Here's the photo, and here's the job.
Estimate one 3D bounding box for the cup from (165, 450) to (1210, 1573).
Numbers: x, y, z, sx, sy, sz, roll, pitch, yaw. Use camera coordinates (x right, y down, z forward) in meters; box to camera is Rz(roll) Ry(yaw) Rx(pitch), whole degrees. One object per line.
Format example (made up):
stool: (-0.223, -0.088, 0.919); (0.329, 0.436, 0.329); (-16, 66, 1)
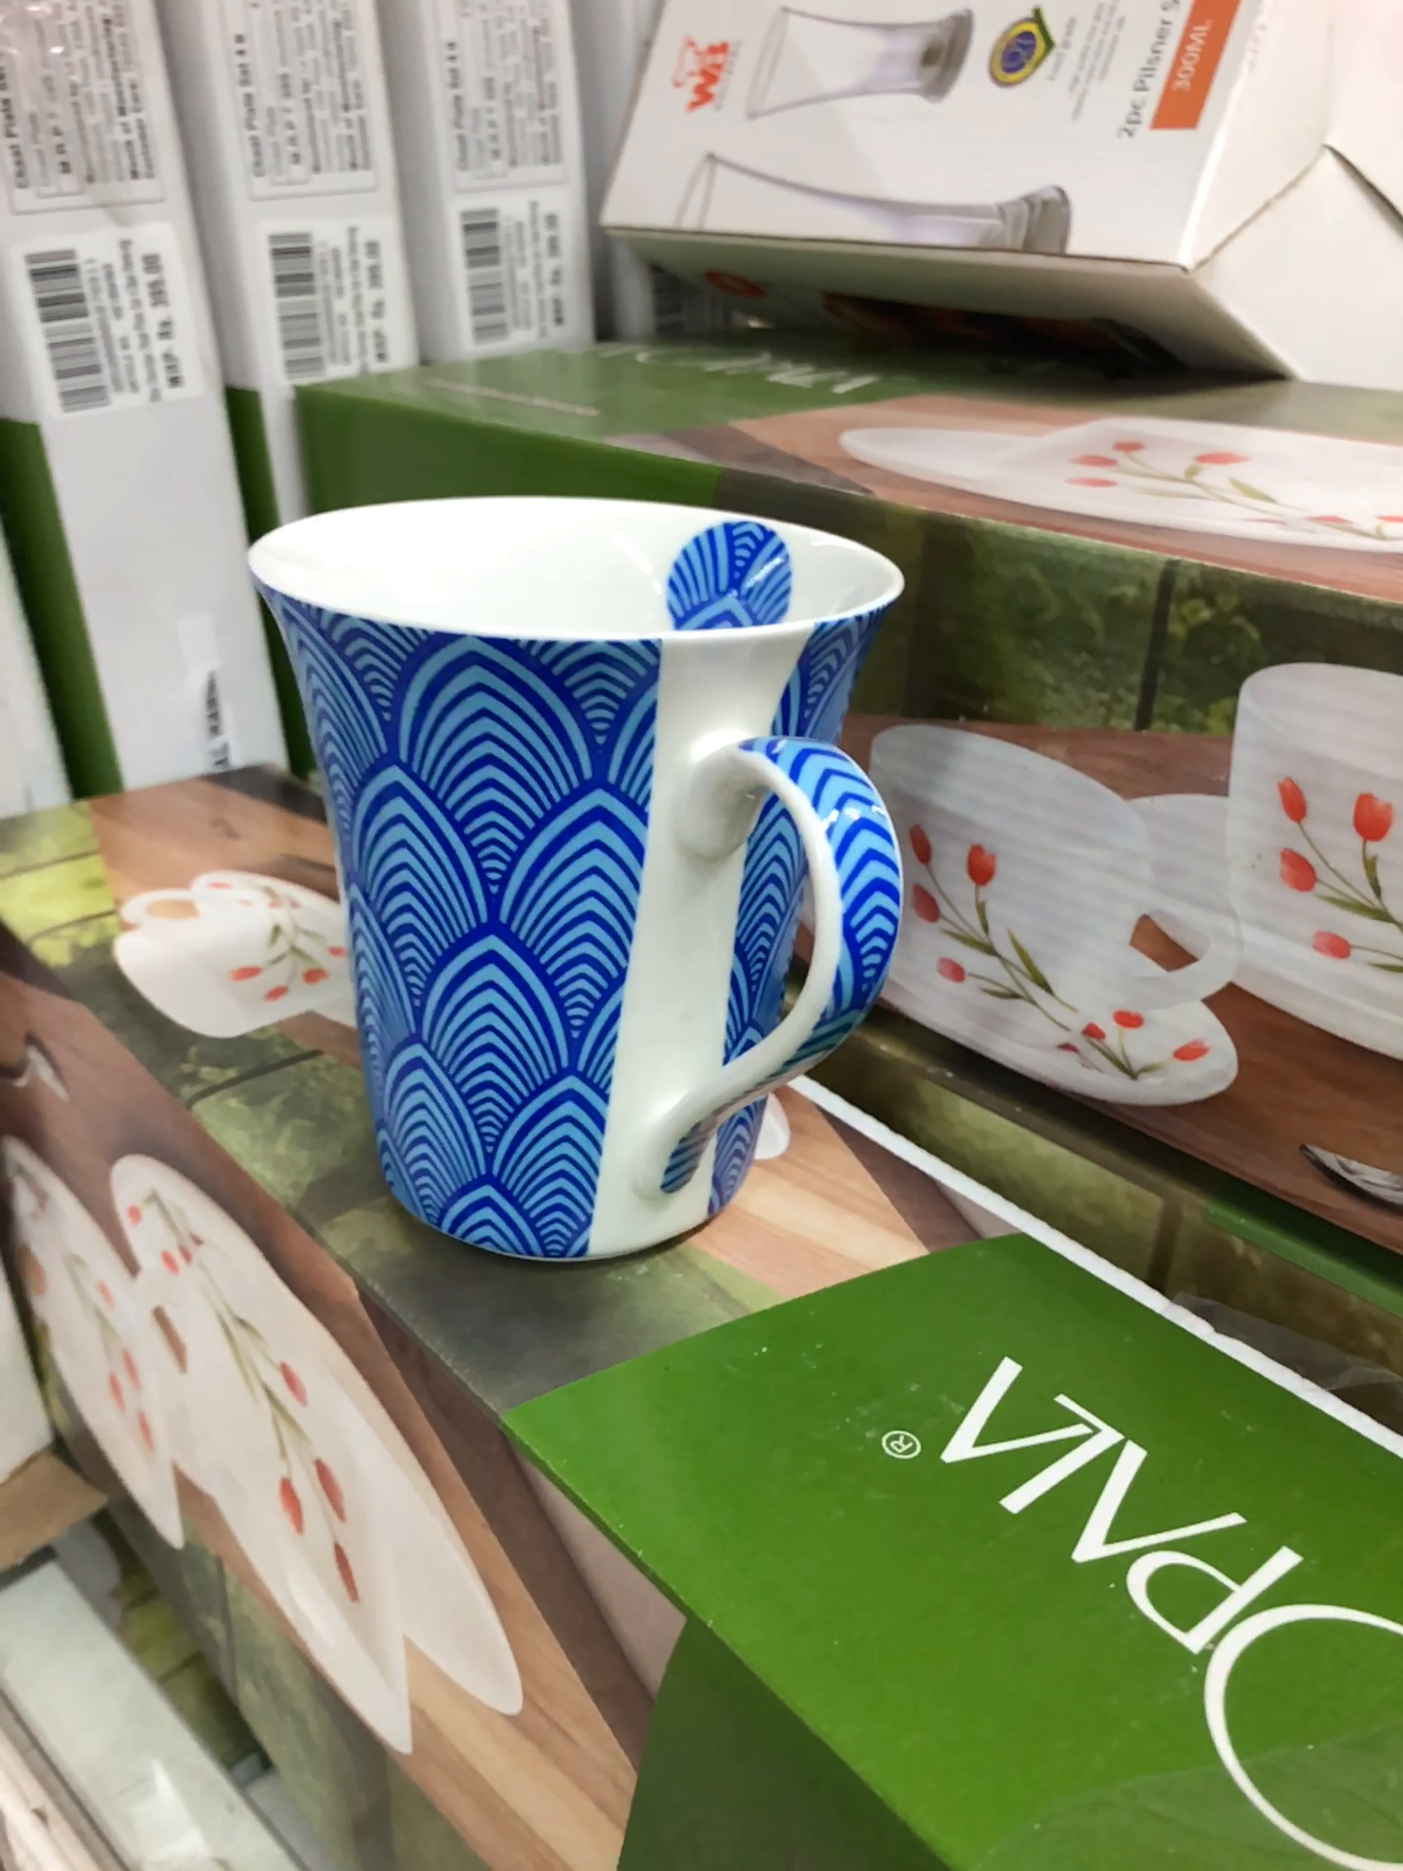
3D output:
cup: (-0.006, -0.003, 0.218); (0.080, 0.099, 0.110); (-20, 33, -32)
